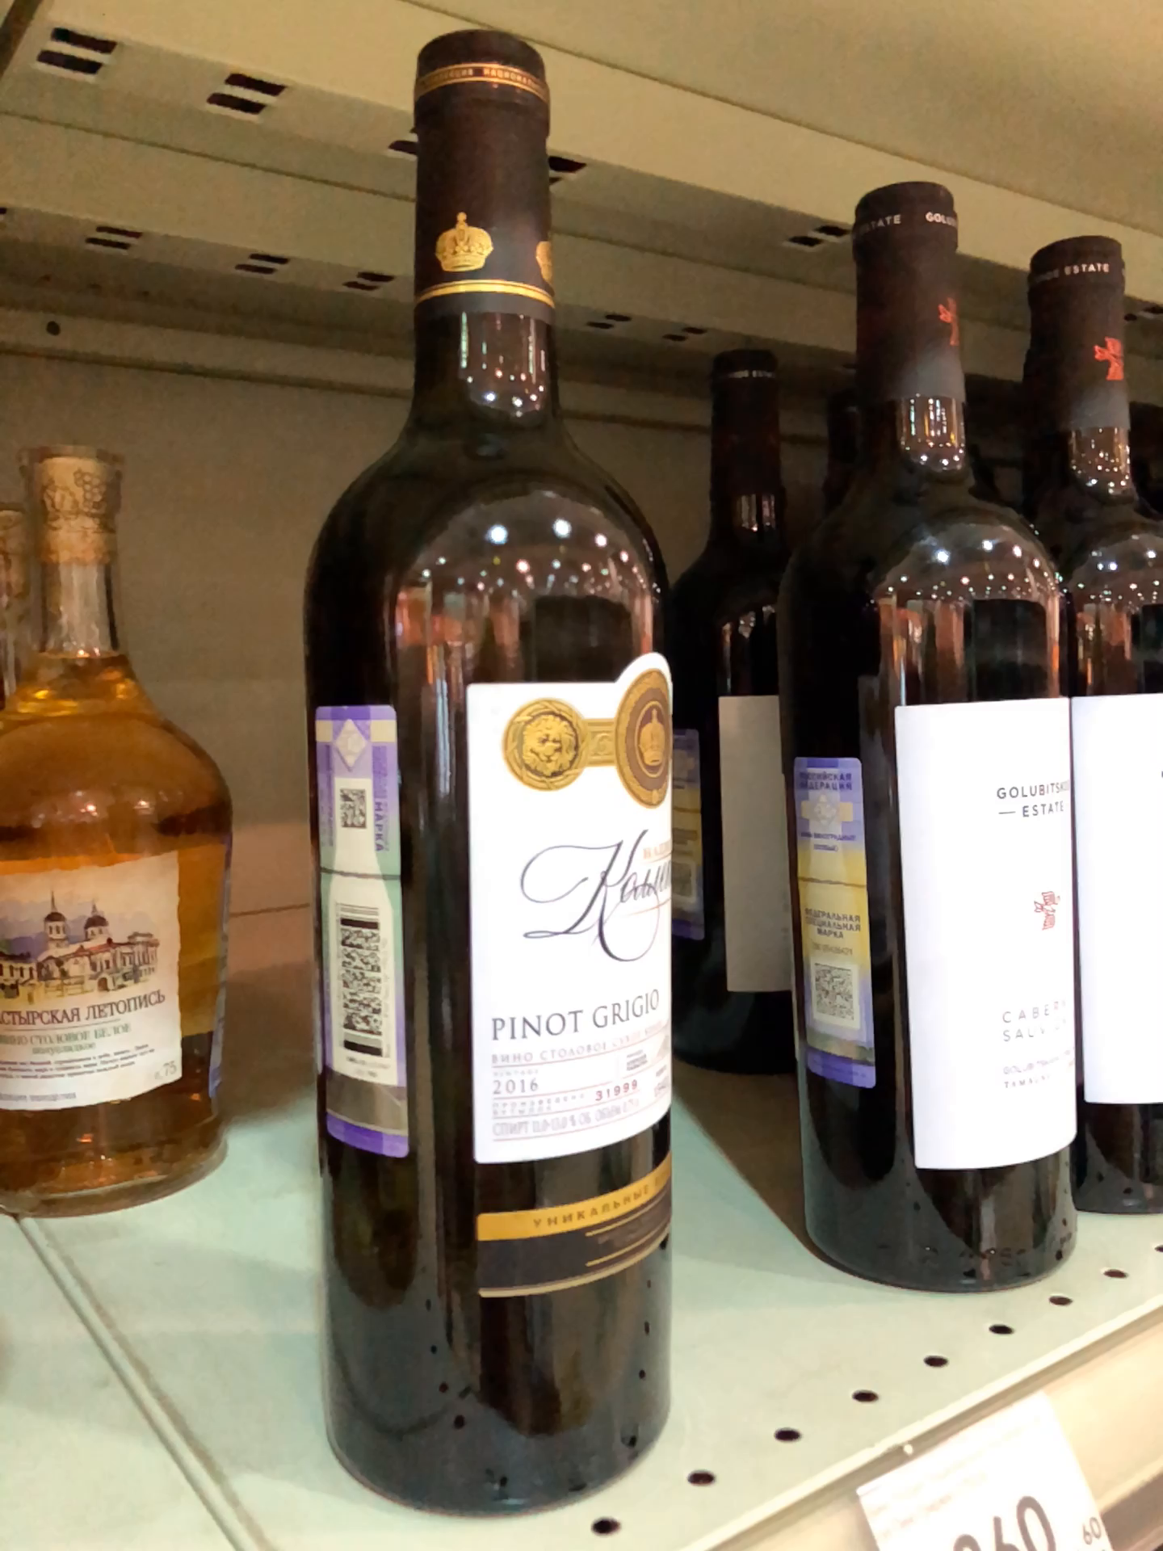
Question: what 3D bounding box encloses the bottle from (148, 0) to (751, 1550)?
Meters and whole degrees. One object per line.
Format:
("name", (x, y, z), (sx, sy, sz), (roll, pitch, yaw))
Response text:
("bottle", (-0.024, -0.013, 0.291), (0.090, 0.320, 0.090), (-2, 3, 0))
